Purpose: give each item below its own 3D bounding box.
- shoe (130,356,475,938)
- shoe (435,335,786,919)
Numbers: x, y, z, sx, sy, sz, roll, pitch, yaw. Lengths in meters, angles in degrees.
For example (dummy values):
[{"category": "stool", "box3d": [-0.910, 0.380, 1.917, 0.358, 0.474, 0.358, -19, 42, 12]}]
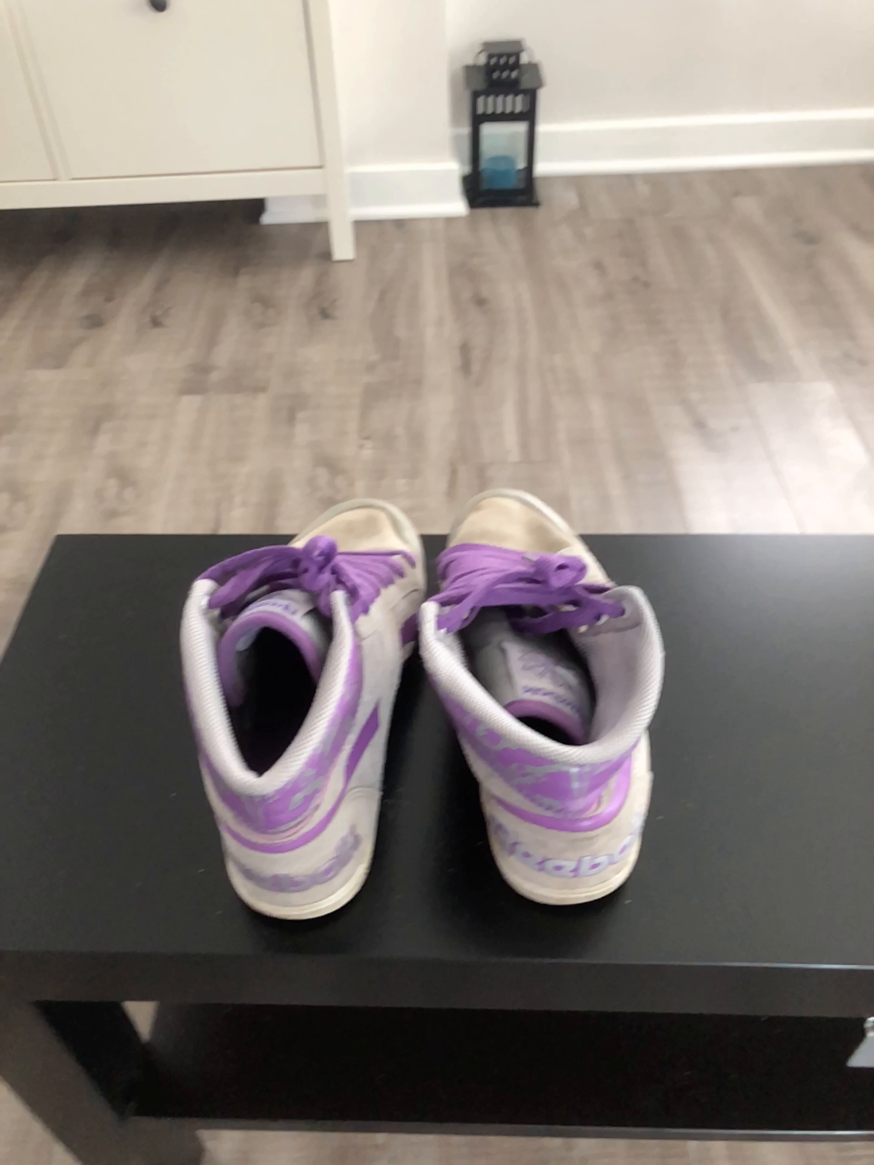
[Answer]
[{"category": "shoe", "box3d": [-0.039, 0.013, 0.429, 0.090, 0.110, 0.241, 4, 45, 6]}, {"category": "shoe", "box3d": [0.057, 0.007, 0.435, 0.100, 0.120, 0.241, -3, 45, -1]}]
